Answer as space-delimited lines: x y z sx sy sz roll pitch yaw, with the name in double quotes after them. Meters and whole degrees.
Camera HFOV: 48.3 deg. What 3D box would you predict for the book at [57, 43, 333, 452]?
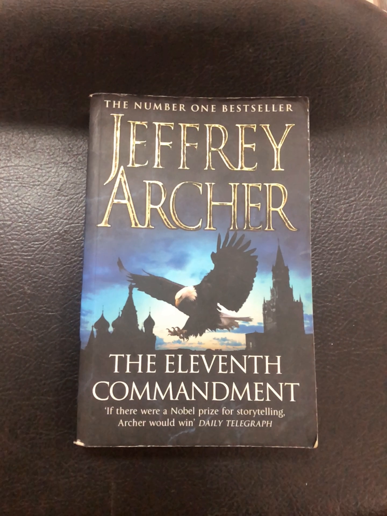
0.003 -0.006 0.234 0.130 0.040 0.200 2 83 -5 "book"
